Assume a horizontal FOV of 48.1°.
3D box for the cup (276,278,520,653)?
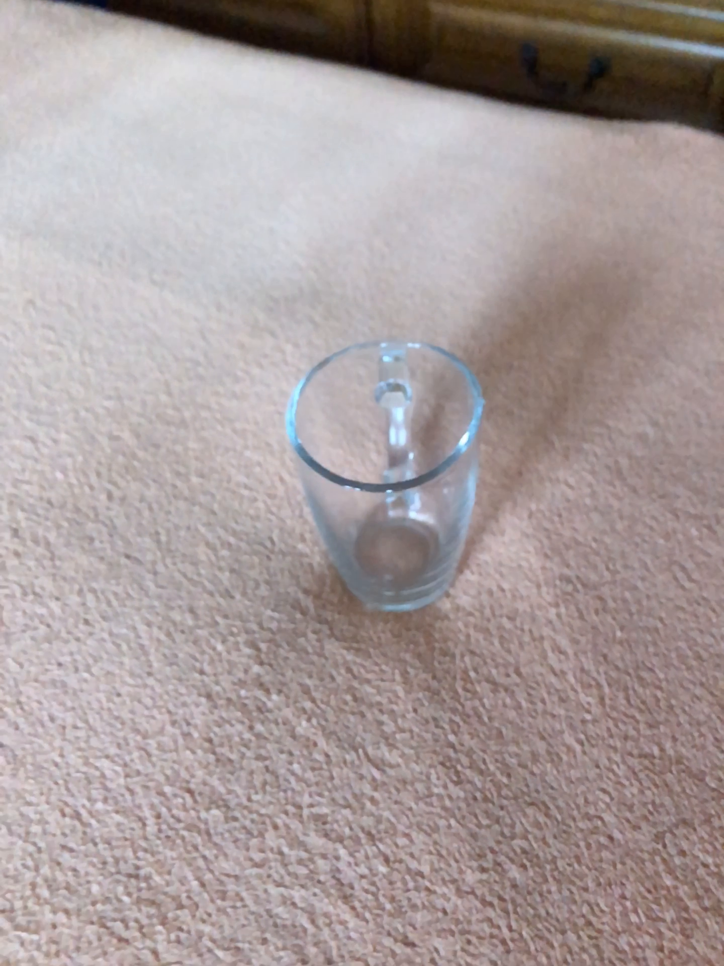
[{"bbox_3d":[0.015,-0.005,0.299,0.070,0.090,0.101,-3,51,5],"label":"cup"}]
